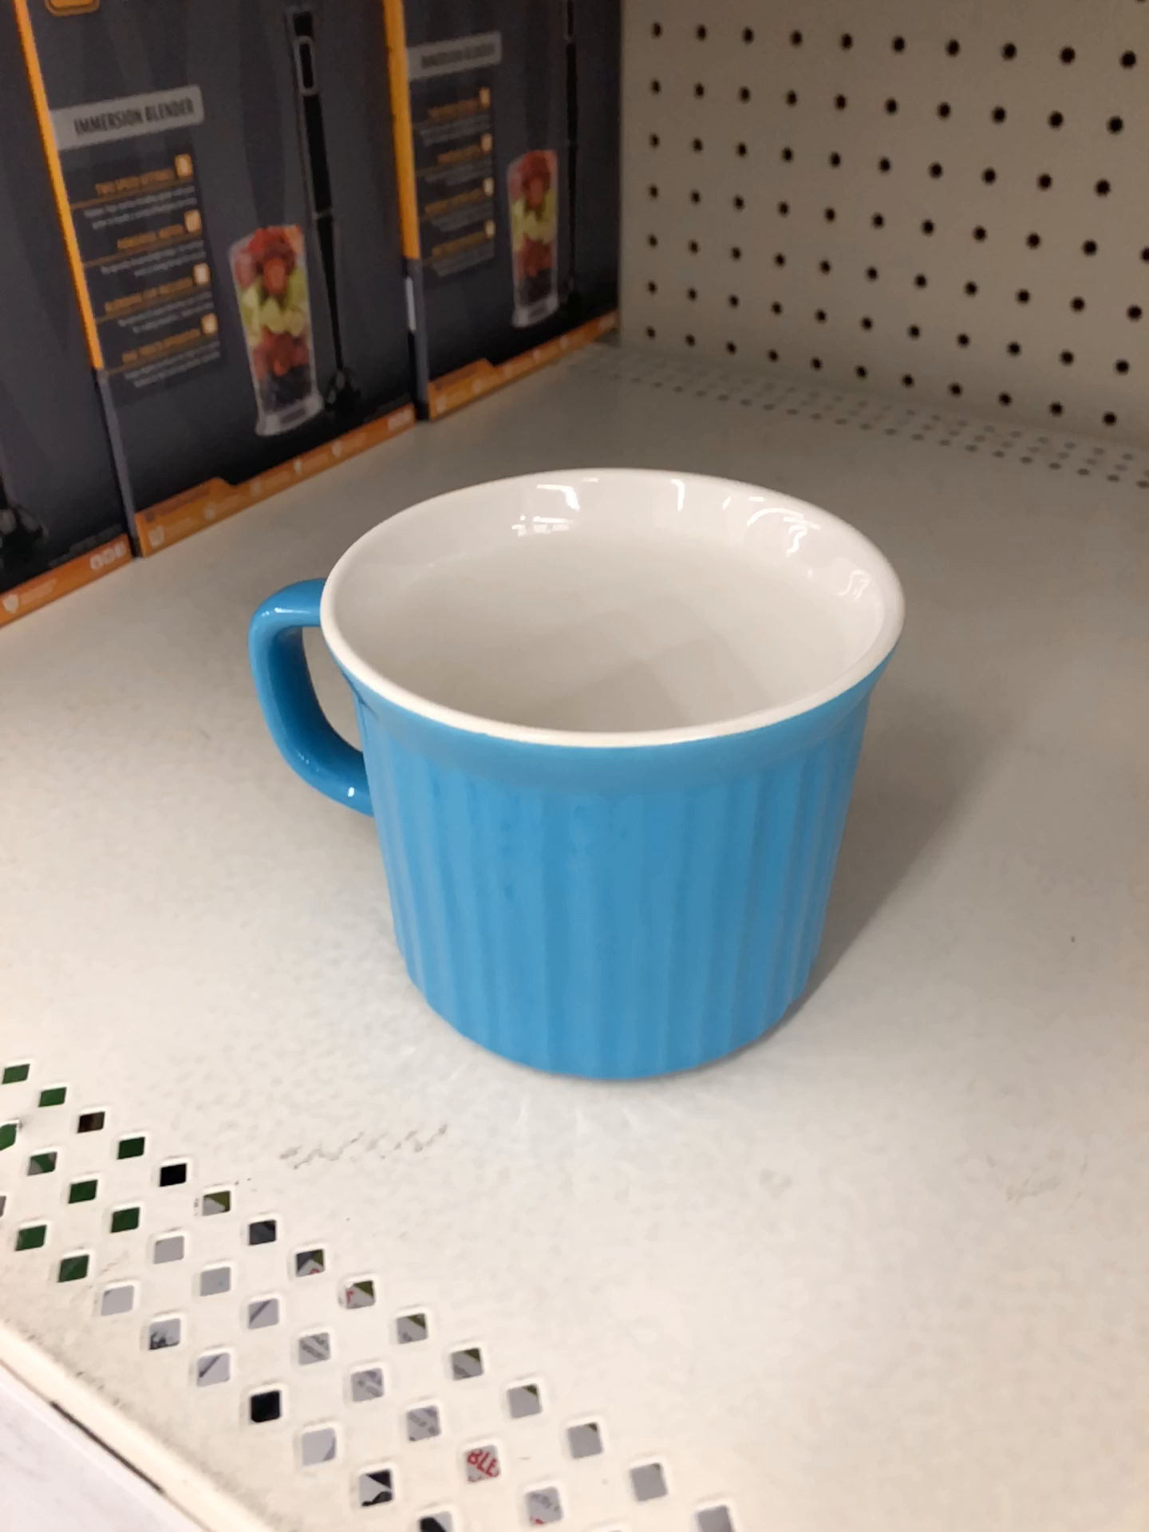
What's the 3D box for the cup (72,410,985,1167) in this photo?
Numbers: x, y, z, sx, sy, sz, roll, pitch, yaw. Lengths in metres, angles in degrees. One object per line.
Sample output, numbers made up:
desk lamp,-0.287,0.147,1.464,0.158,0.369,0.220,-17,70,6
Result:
cup,0.000,-0.008,0.301,0.161,0.093,0.126,11,38,17
